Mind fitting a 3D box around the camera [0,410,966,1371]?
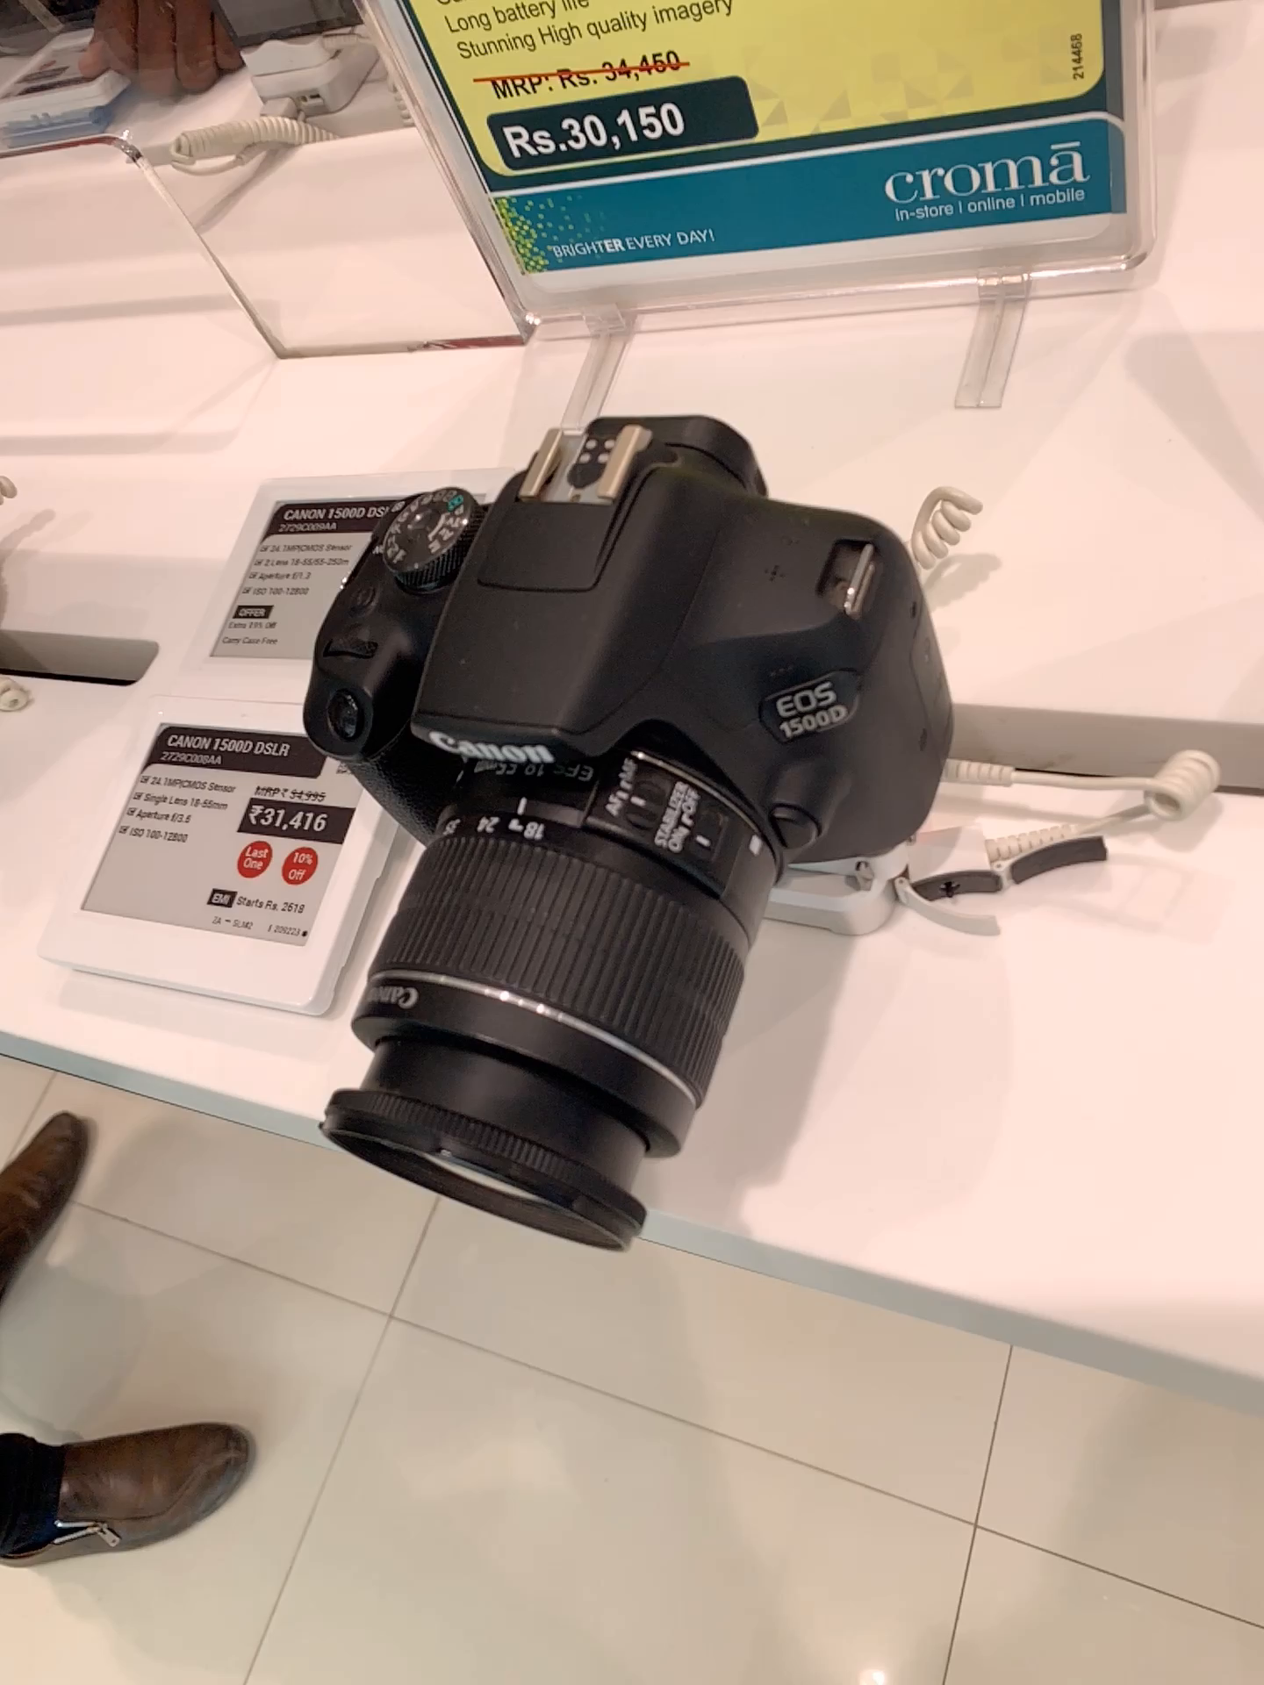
[{"bbox_3d":[-0.015,0.004,0.235,0.110,0.090,0.130,9,63,27],"label":"camera"}]
